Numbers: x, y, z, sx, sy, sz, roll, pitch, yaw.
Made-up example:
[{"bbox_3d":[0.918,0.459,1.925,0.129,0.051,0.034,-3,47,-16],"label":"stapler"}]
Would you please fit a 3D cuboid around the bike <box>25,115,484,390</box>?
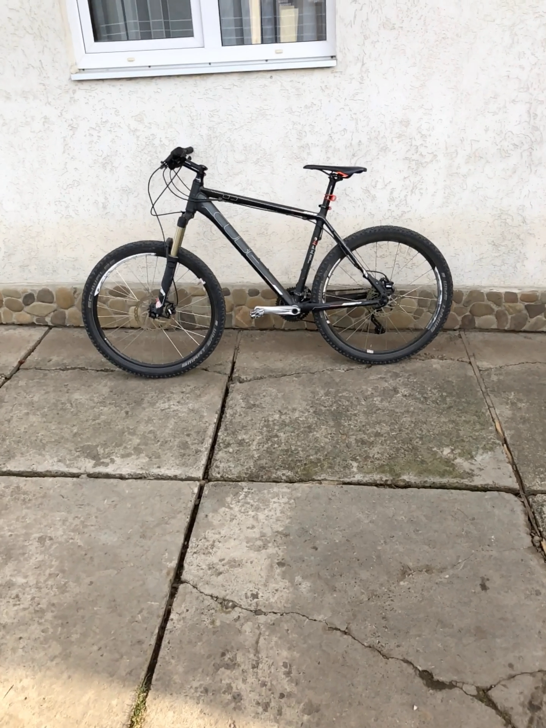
[{"bbox_3d":[-0.041,-0.544,2.873,1.772,1.090,0.690,-2,29,0],"label":"bike"}]
